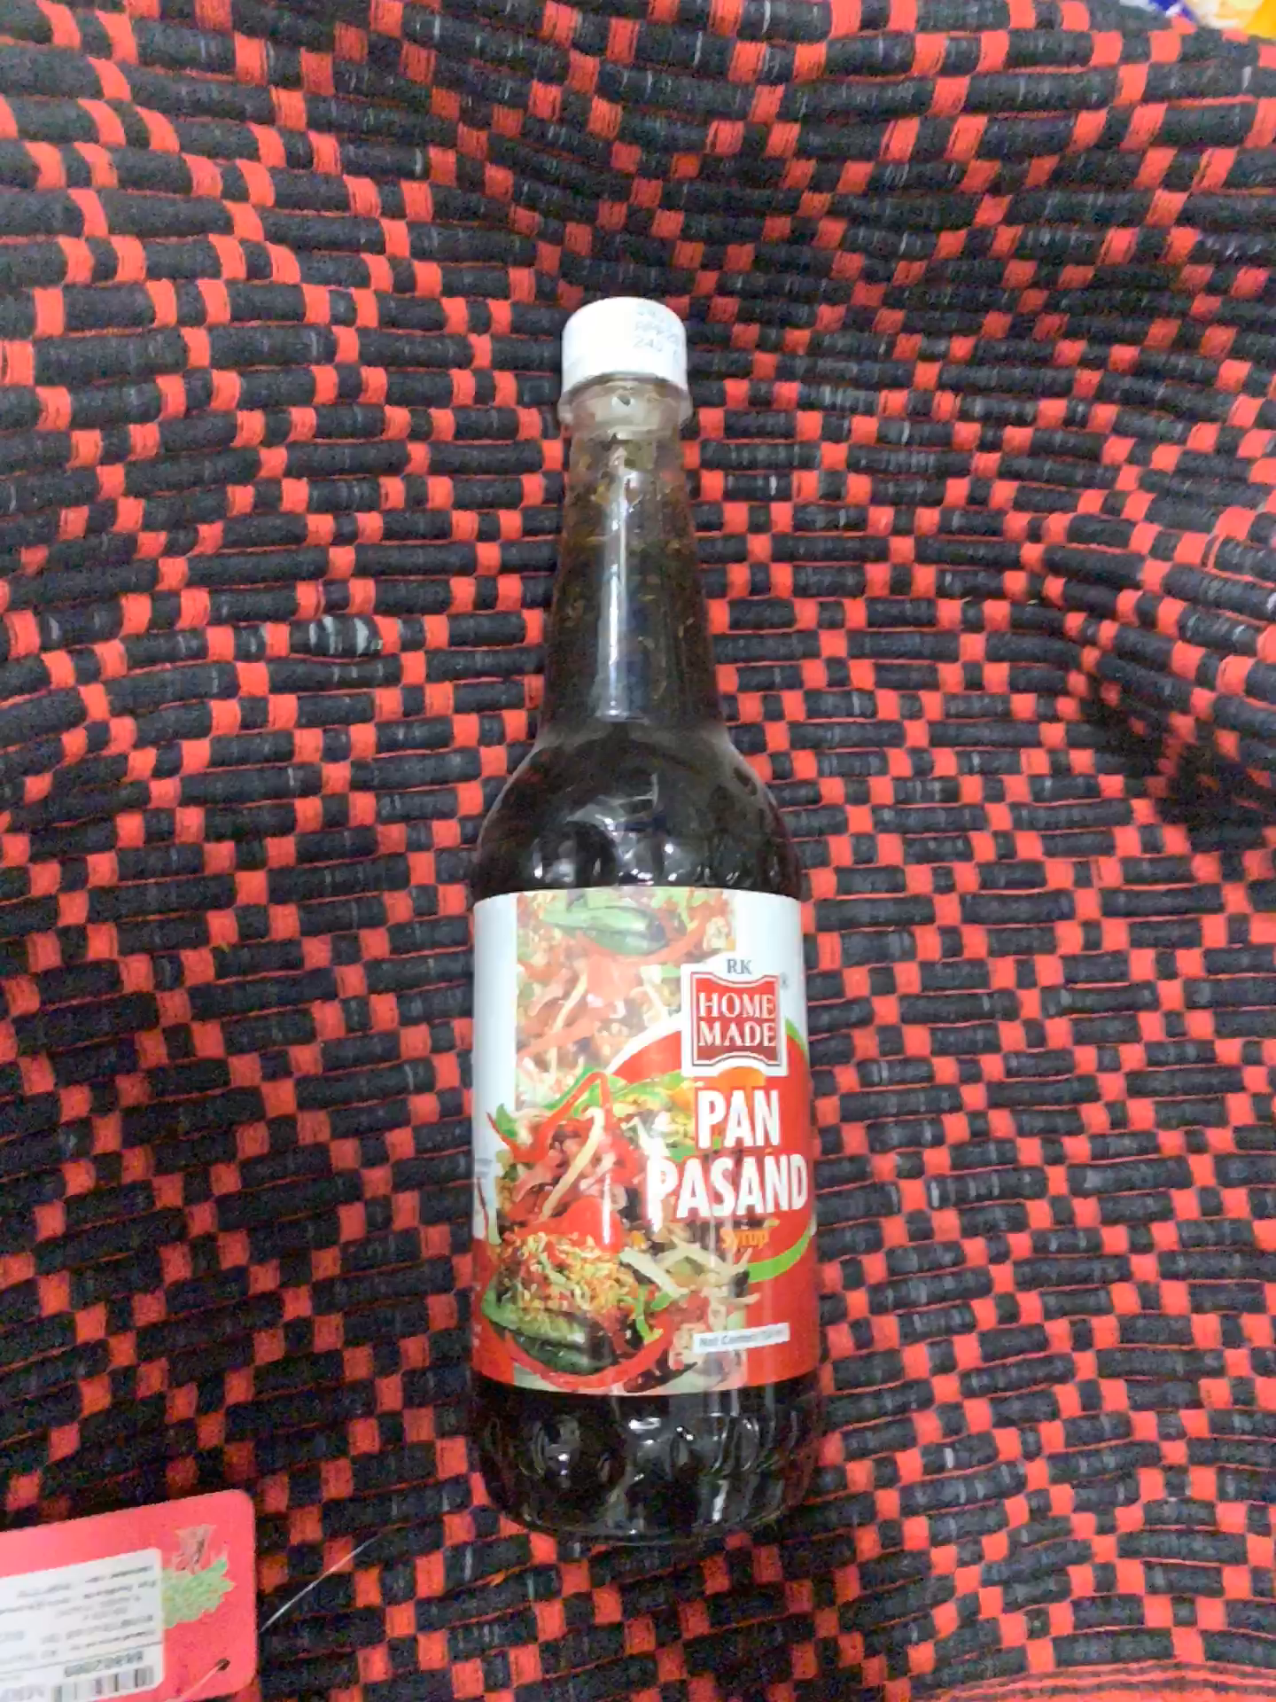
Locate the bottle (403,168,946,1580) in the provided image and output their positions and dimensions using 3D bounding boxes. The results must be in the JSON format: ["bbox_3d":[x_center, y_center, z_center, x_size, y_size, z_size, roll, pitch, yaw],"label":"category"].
[{"bbox_3d":[-0.004,-0.004,0.300,0.090,0.080,0.280,2,73,-14],"label":"bottle"}]
